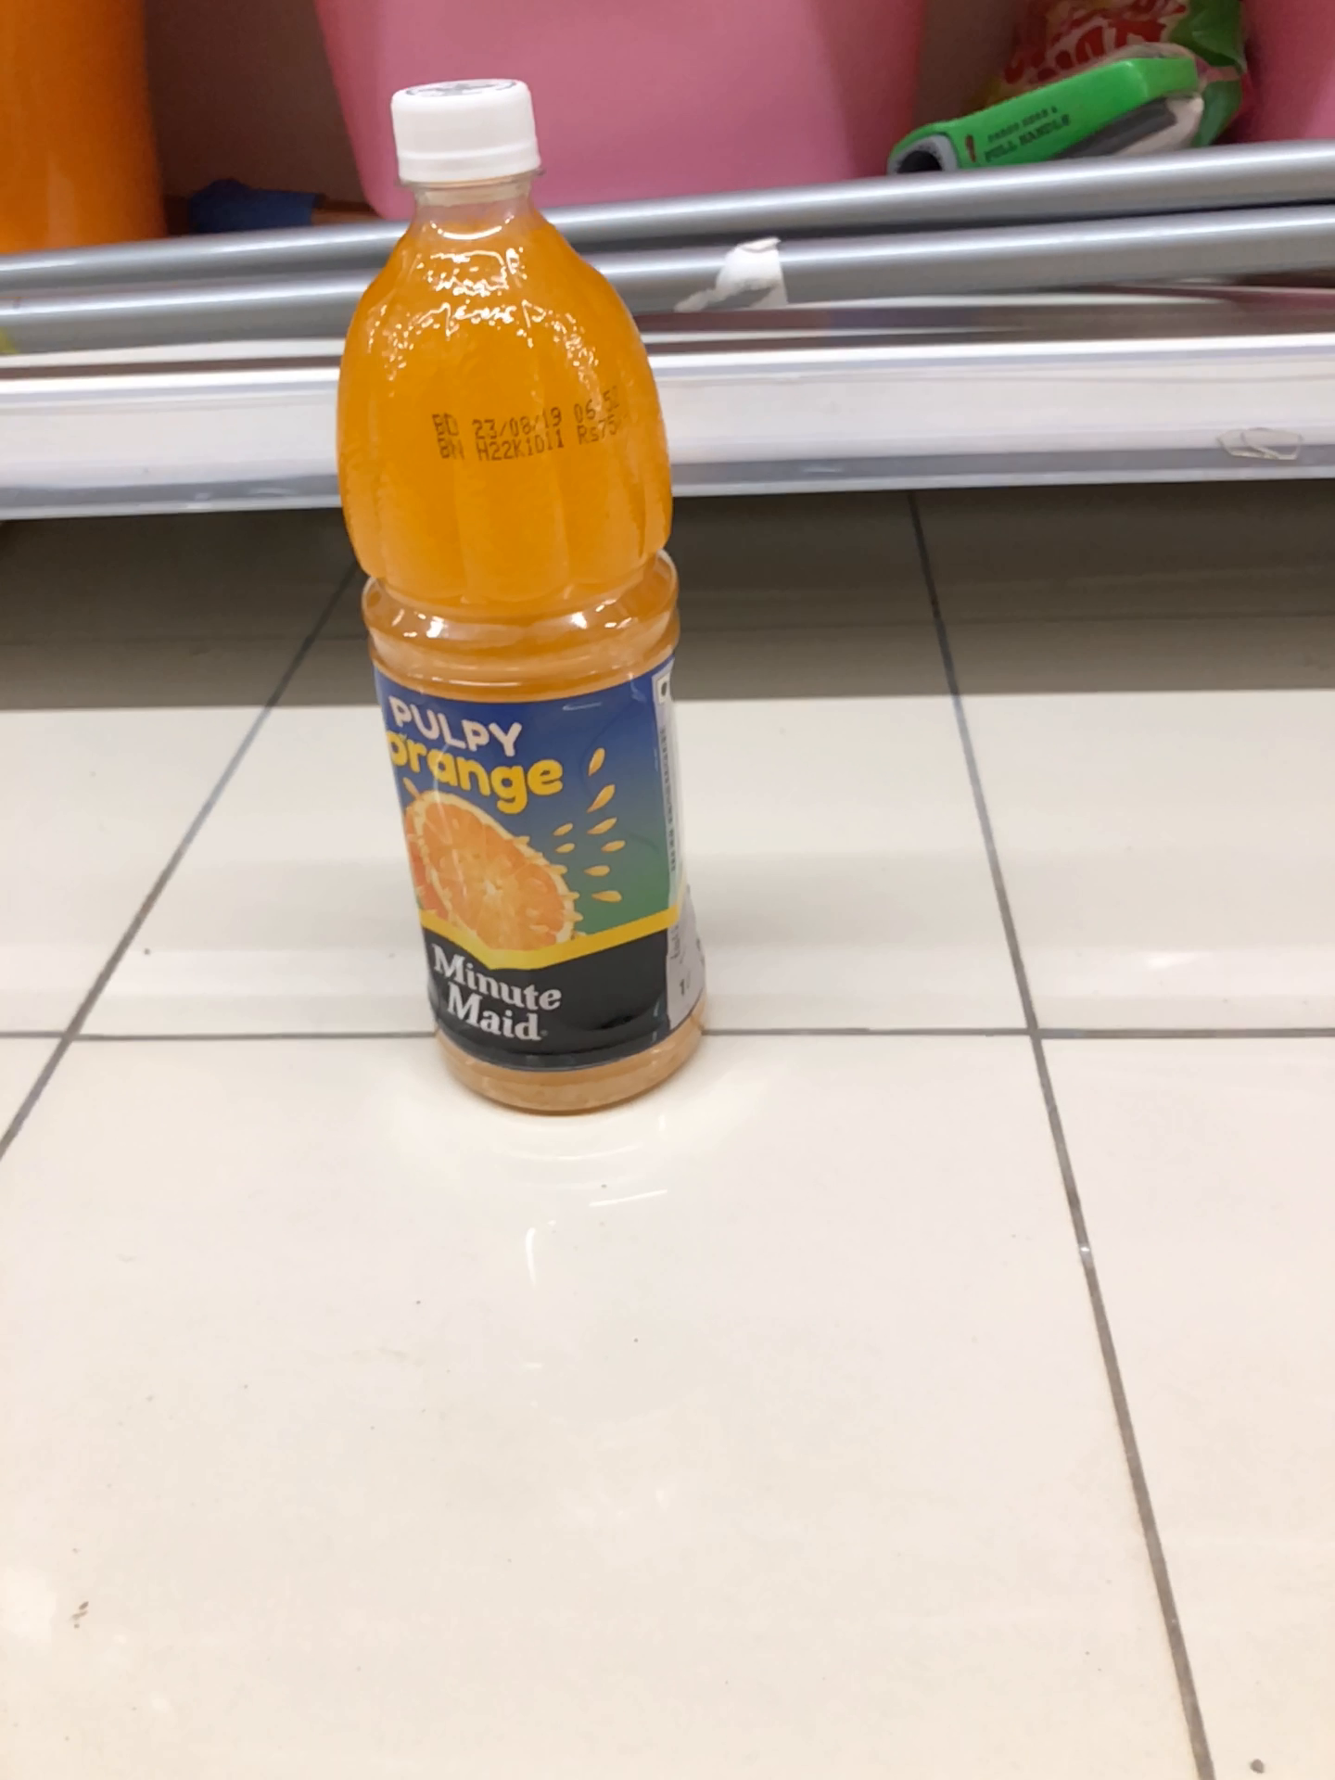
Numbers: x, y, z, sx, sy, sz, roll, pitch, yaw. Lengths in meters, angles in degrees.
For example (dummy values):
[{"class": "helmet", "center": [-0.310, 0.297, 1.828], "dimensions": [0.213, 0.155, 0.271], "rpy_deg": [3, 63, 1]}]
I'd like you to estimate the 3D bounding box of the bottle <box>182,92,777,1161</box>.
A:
[{"class": "bottle", "center": [-0.031, -0.061, 0.382], "dimensions": [0.090, 0.245, 0.091], "rpy_deg": [-3, 33, 2]}]
